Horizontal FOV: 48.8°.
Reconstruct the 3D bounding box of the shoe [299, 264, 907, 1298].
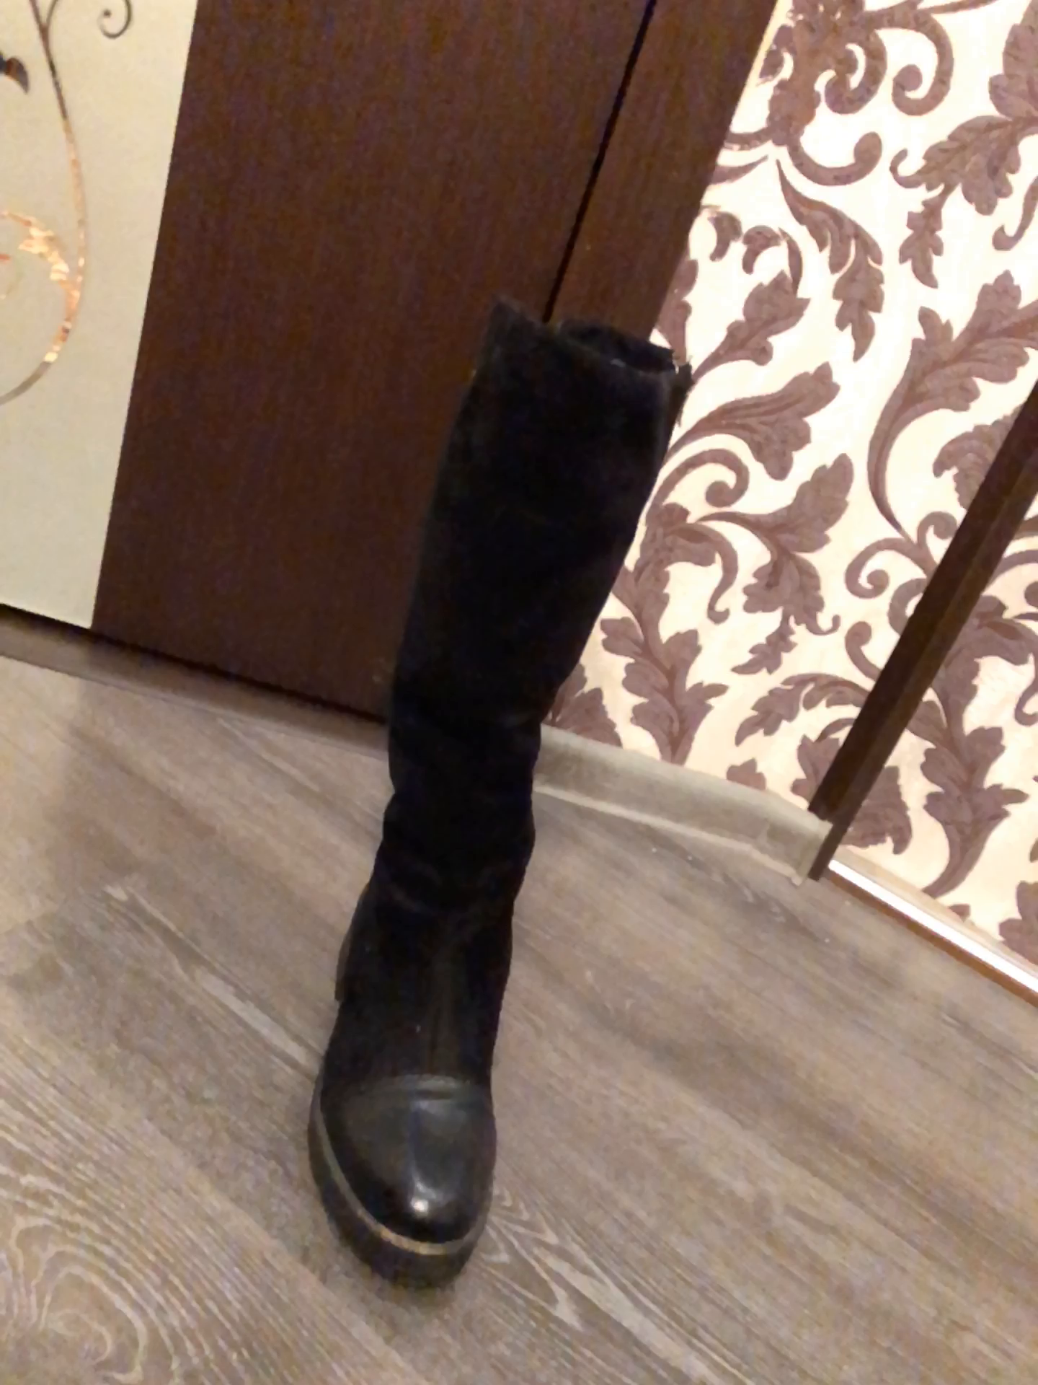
[{"bbox_3d":[-0.007,0.040,0.543,0.100,0.408,0.251,12,27,-17],"label":"shoe"}]
